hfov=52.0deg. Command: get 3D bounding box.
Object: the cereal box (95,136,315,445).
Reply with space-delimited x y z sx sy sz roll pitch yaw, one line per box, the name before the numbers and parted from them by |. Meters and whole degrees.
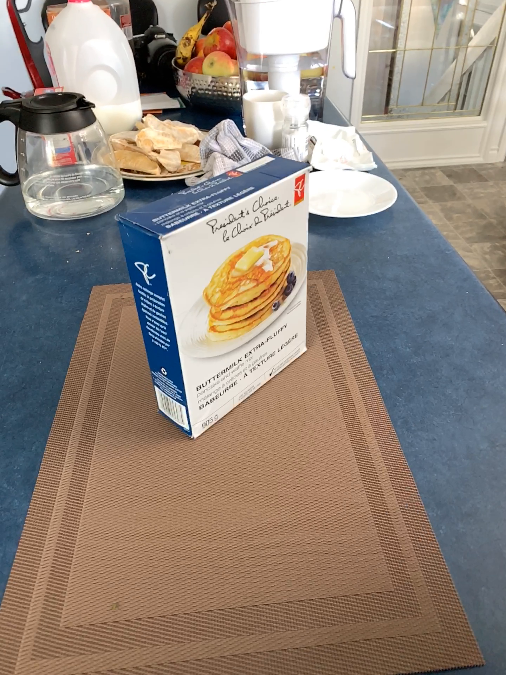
cereal box | -0.025 -0.039 0.443 0.050 0.208 0.171 30 48 34
